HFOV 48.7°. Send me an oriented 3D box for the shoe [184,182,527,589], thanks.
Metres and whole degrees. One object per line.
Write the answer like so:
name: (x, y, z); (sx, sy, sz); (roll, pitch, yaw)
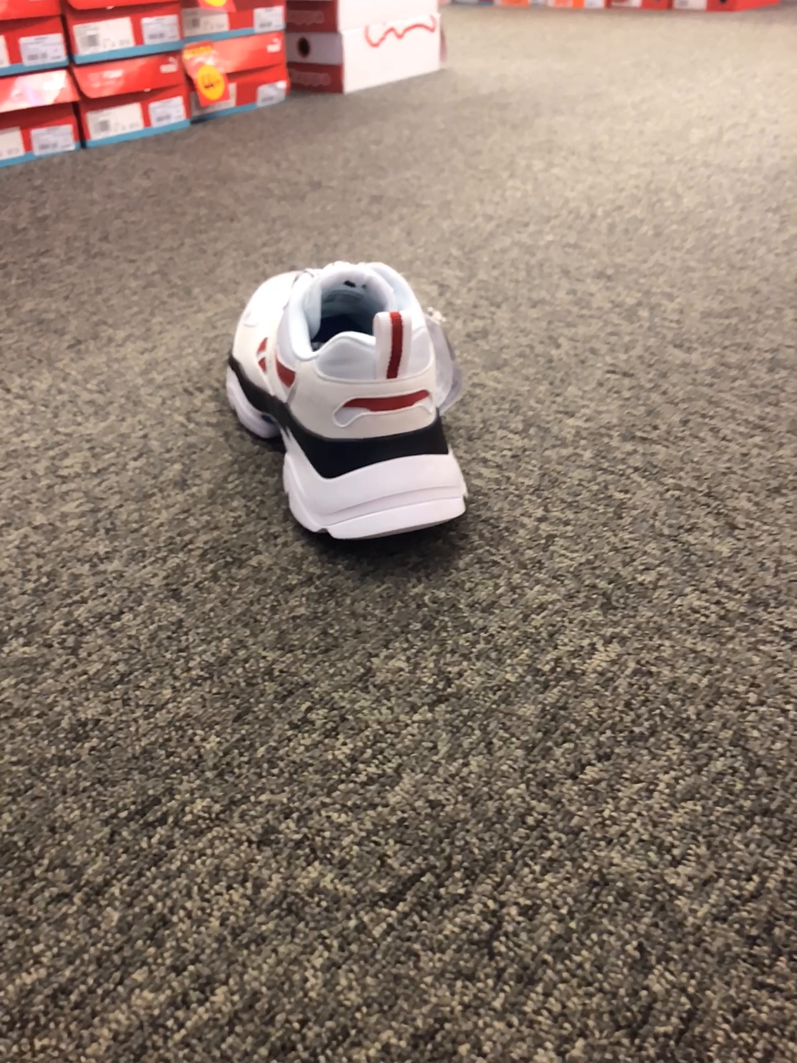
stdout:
shoe: (-0.042, -0.110, 0.522); (0.113, 0.109, 0.301); (-13, 36, -14)
